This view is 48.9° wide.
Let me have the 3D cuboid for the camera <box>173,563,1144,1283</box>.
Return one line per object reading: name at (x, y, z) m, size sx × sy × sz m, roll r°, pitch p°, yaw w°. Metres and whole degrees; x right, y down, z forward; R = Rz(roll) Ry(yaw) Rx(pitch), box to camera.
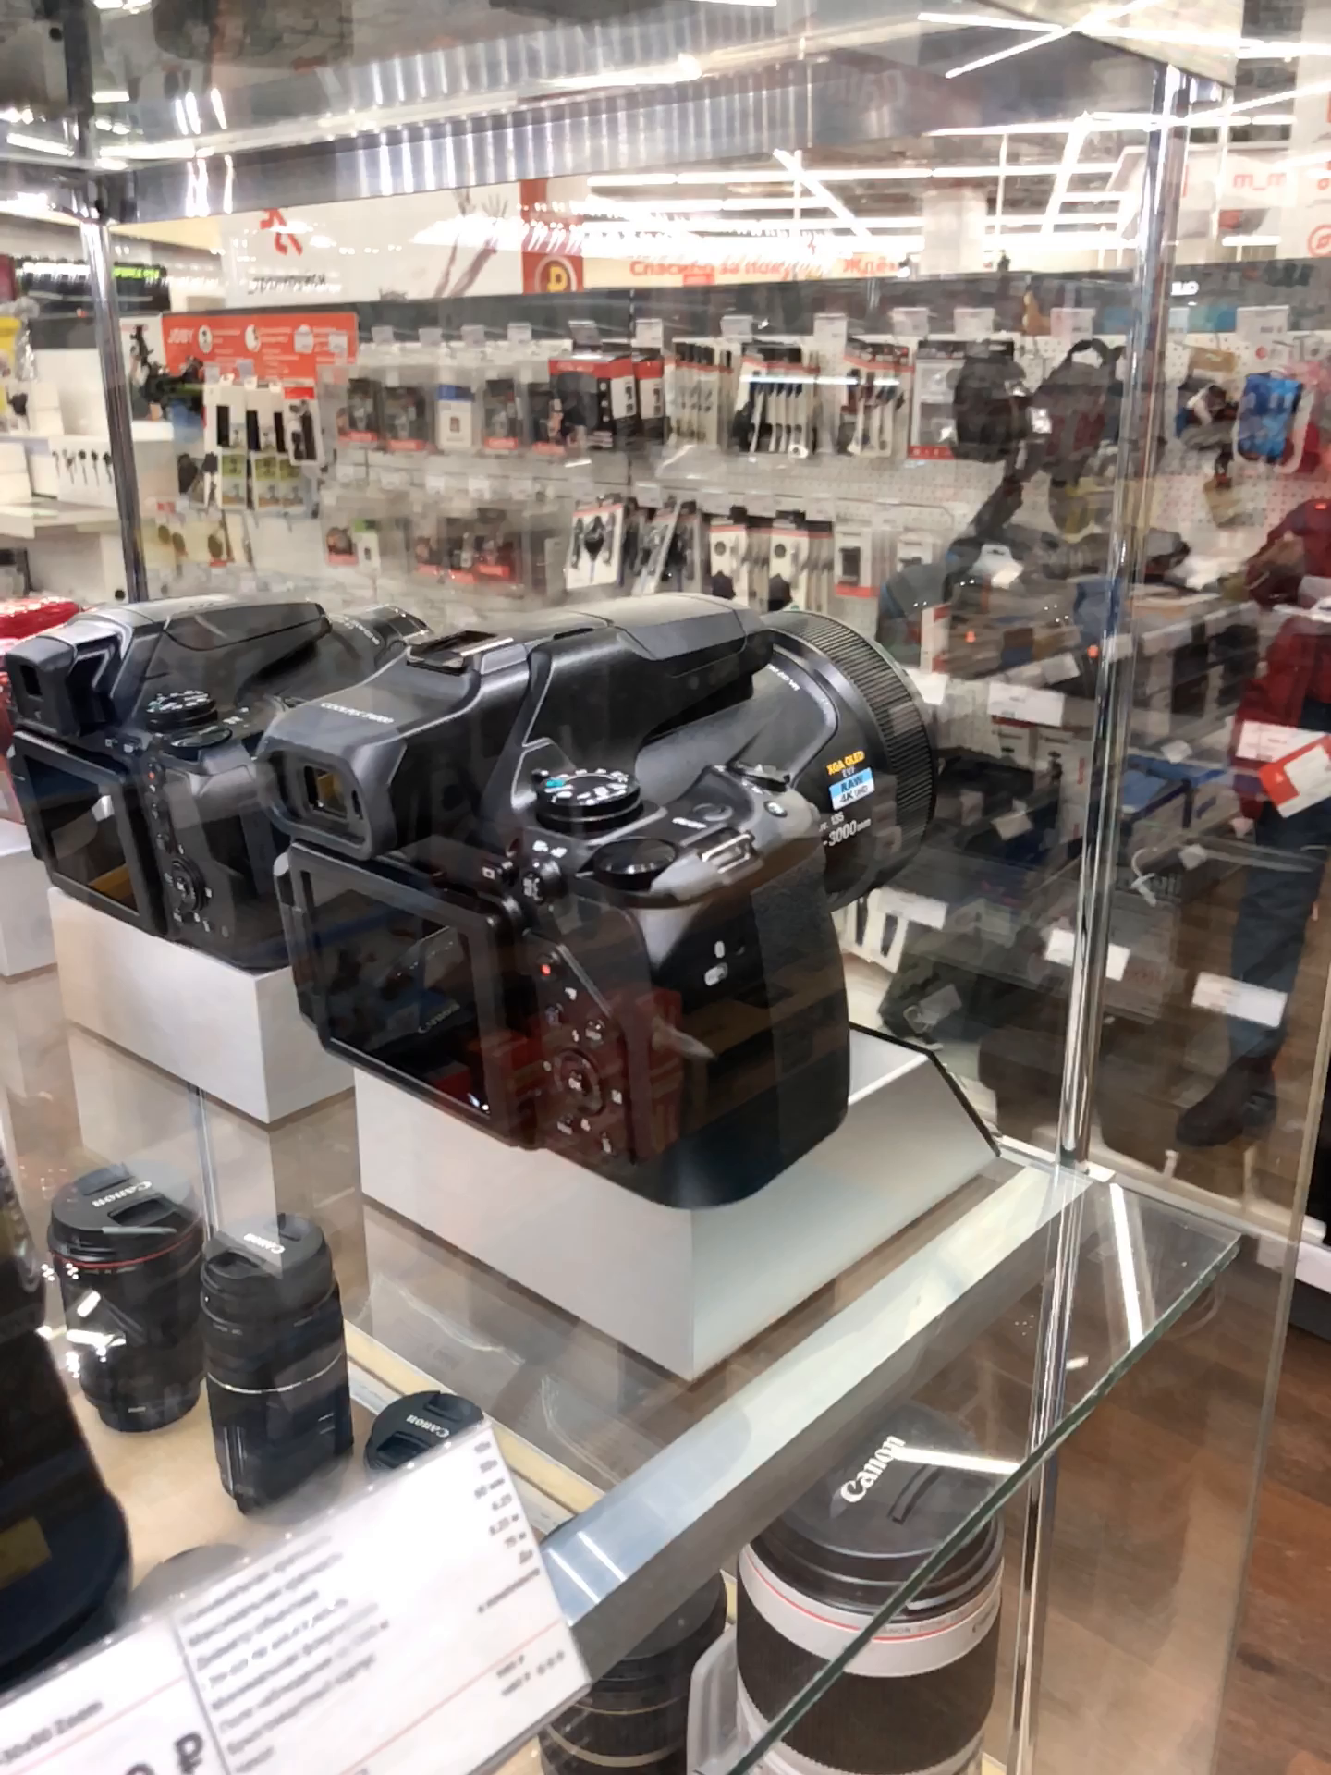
camera at (0.005, -0.016, 0.400) m, size 0.160 × 0.114 × 0.201 m, roll 16°, pitch 25°, yaw 39°
